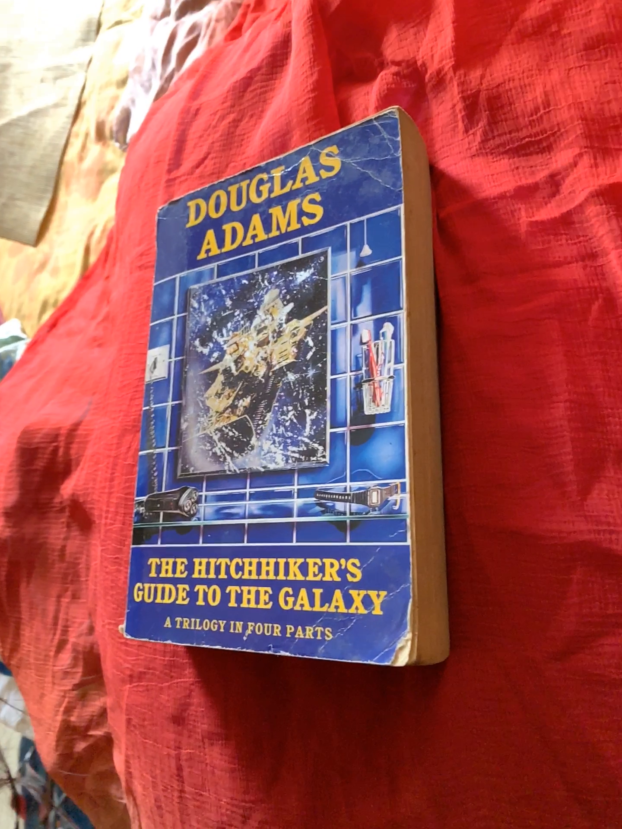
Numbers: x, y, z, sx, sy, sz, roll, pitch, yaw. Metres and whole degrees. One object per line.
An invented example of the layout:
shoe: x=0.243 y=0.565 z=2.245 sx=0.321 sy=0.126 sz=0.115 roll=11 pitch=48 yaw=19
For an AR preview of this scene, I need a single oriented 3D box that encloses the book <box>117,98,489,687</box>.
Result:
book: x=-0.005 y=-0.006 z=0.252 sx=0.131 sy=0.044 sz=0.187 roll=-7 pitch=74 yaw=33
